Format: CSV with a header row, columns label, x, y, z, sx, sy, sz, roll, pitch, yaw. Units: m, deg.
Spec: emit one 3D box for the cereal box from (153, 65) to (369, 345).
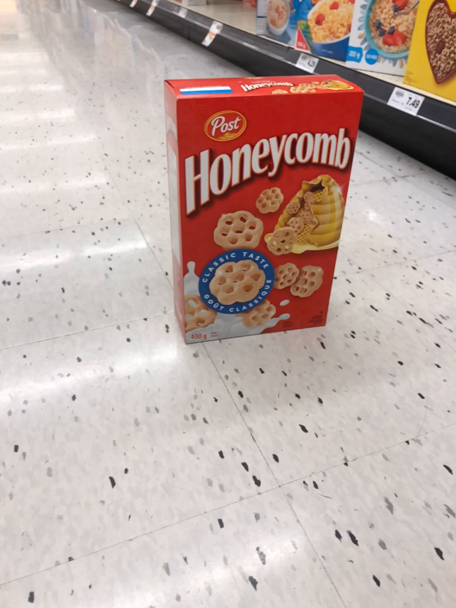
label,x,y,z,sx,sy,sz,roll,pitch,yaw
cereal box,0.027,-0.106,0.586,0.200,0.298,0.080,-7,36,-12
